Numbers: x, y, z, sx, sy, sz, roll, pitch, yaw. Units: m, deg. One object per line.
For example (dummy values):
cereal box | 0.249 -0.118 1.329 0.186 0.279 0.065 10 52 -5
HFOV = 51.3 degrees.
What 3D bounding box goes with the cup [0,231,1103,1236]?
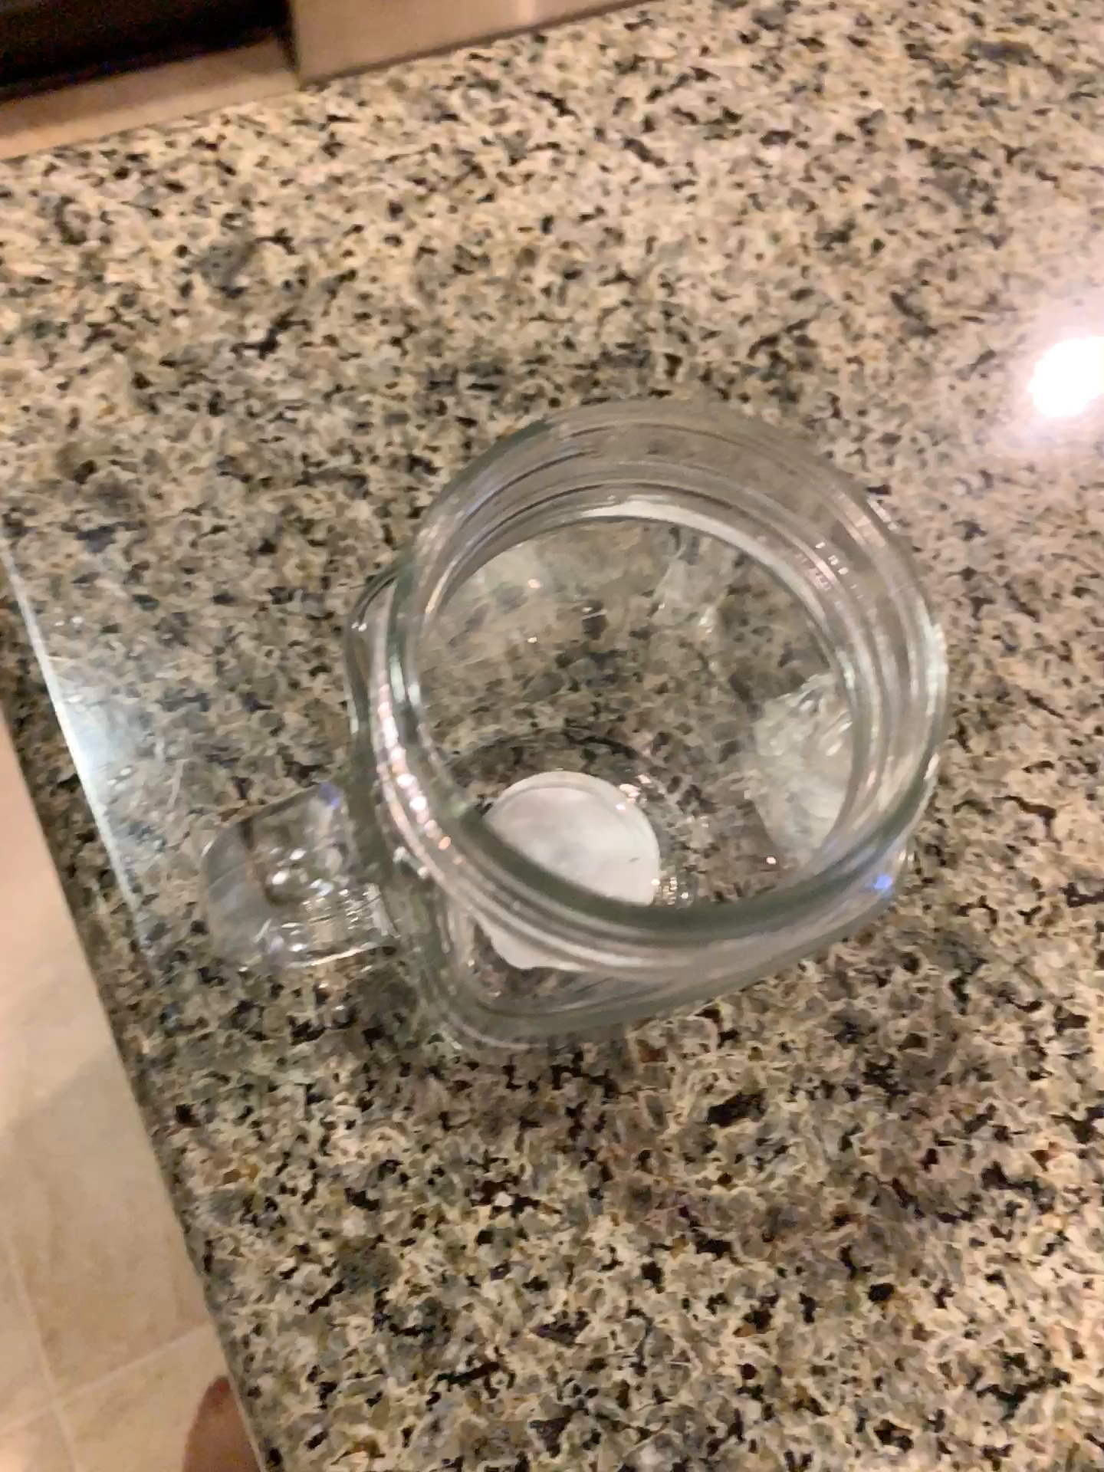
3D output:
cup | -0.008 0.008 0.181 0.120 0.119 0.080 -19 74 -13
